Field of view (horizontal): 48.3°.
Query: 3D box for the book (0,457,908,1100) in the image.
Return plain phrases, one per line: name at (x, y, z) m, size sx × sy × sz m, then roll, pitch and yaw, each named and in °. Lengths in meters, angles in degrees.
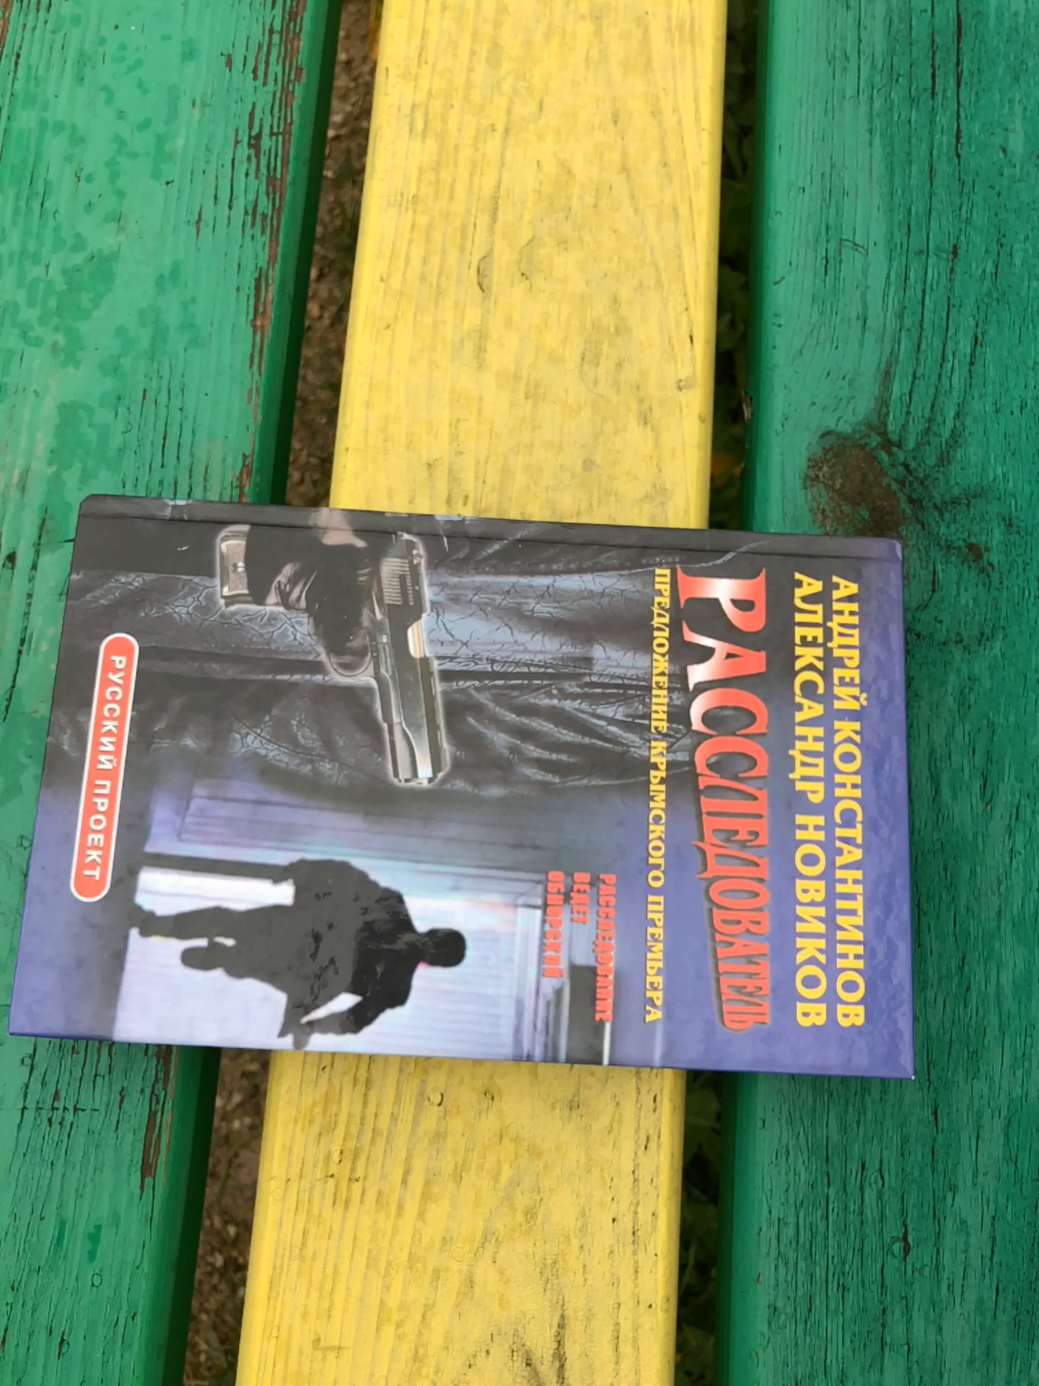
book at (-0.011, 0.019, 0.284) m, size 0.201 × 0.031 × 0.138 m, roll 4°, pitch 77°, yaw -1°
